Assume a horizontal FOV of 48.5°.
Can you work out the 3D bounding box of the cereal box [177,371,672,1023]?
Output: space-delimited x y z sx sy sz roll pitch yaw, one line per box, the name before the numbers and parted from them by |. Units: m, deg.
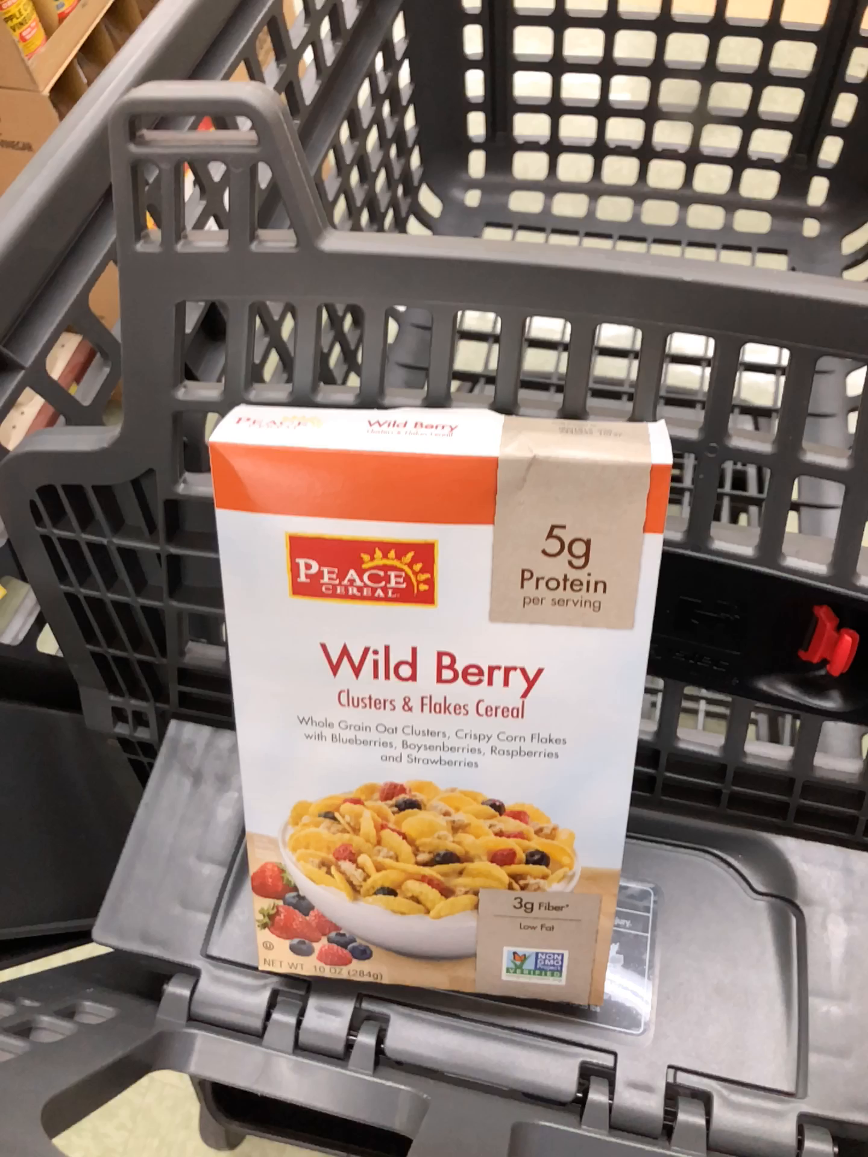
cereal box | -0.002 0.055 0.391 0.160 0.260 0.060 3 25 7
